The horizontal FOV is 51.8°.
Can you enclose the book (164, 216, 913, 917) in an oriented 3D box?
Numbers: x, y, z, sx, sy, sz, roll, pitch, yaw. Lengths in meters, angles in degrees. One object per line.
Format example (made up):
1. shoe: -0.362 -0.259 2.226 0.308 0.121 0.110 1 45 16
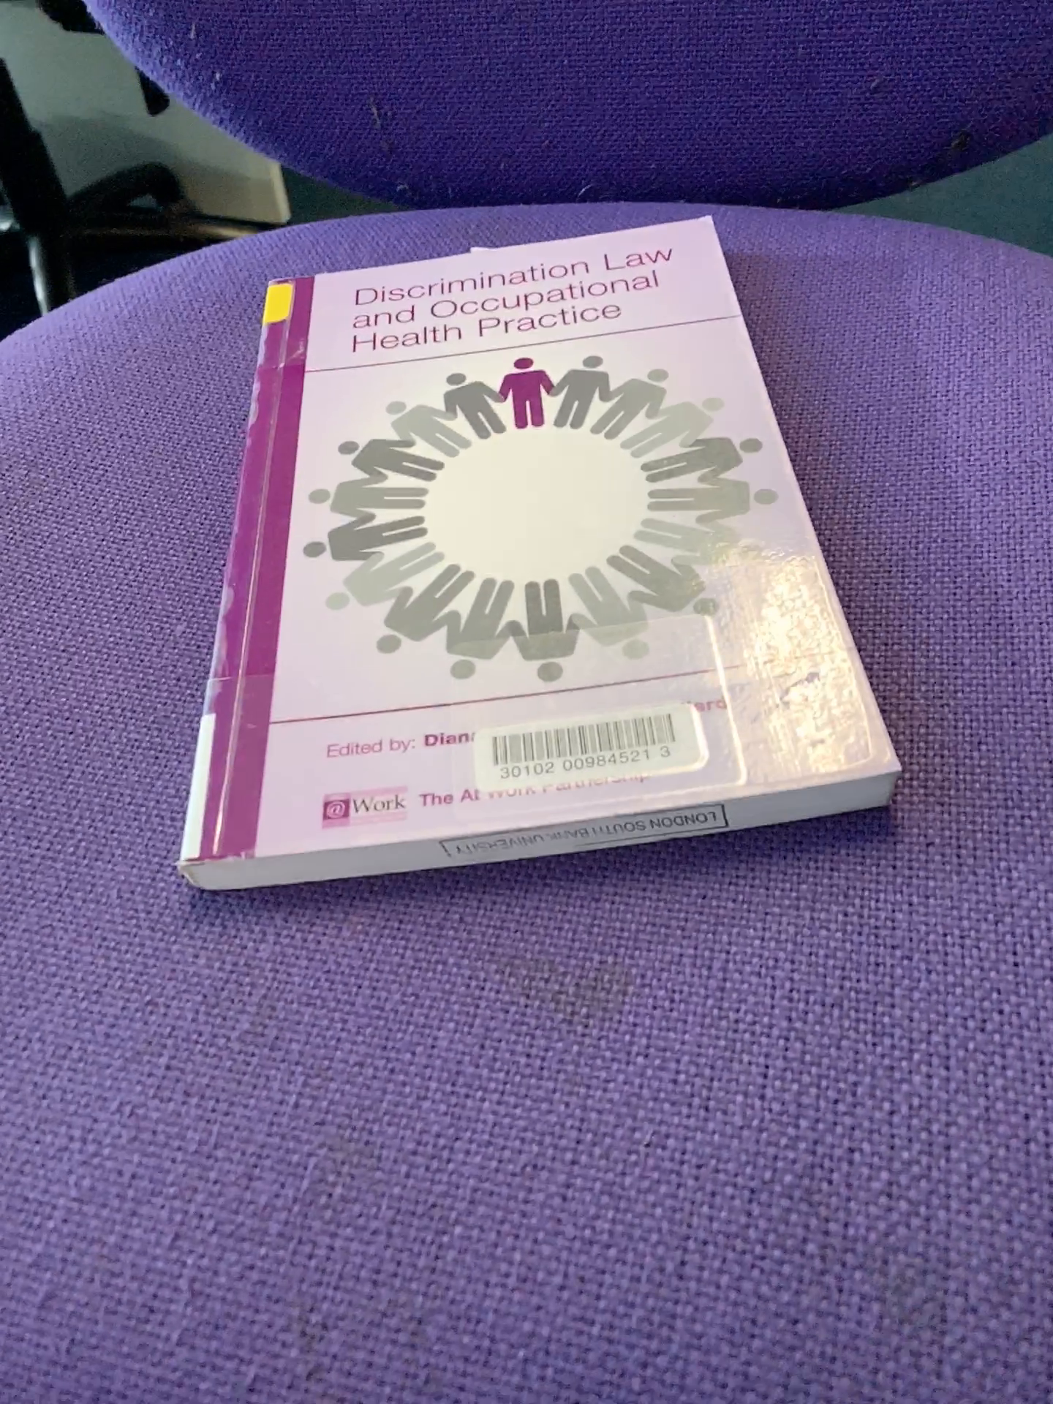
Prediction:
1. book: -0.006 -0.059 0.309 0.157 0.022 0.237 -7 51 2
